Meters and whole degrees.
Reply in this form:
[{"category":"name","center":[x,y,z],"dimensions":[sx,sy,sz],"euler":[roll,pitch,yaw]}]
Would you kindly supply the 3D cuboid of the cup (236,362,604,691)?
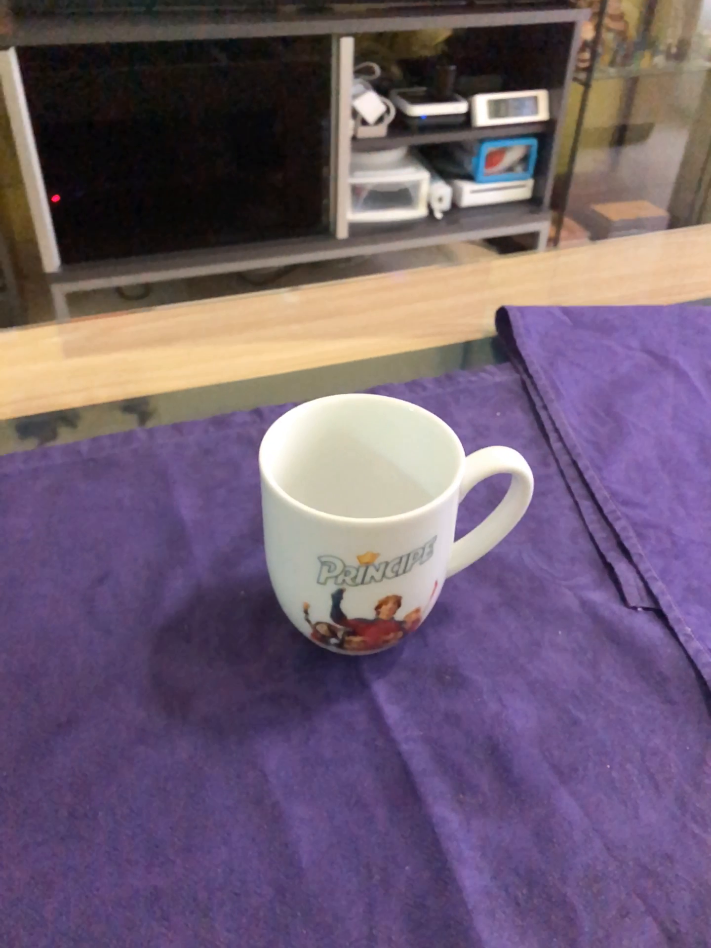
[{"category":"cup","center":[0.018,0.019,0.324],"dimensions":[0.120,0.090,0.080],"euler":[-6,40,-10]}]
